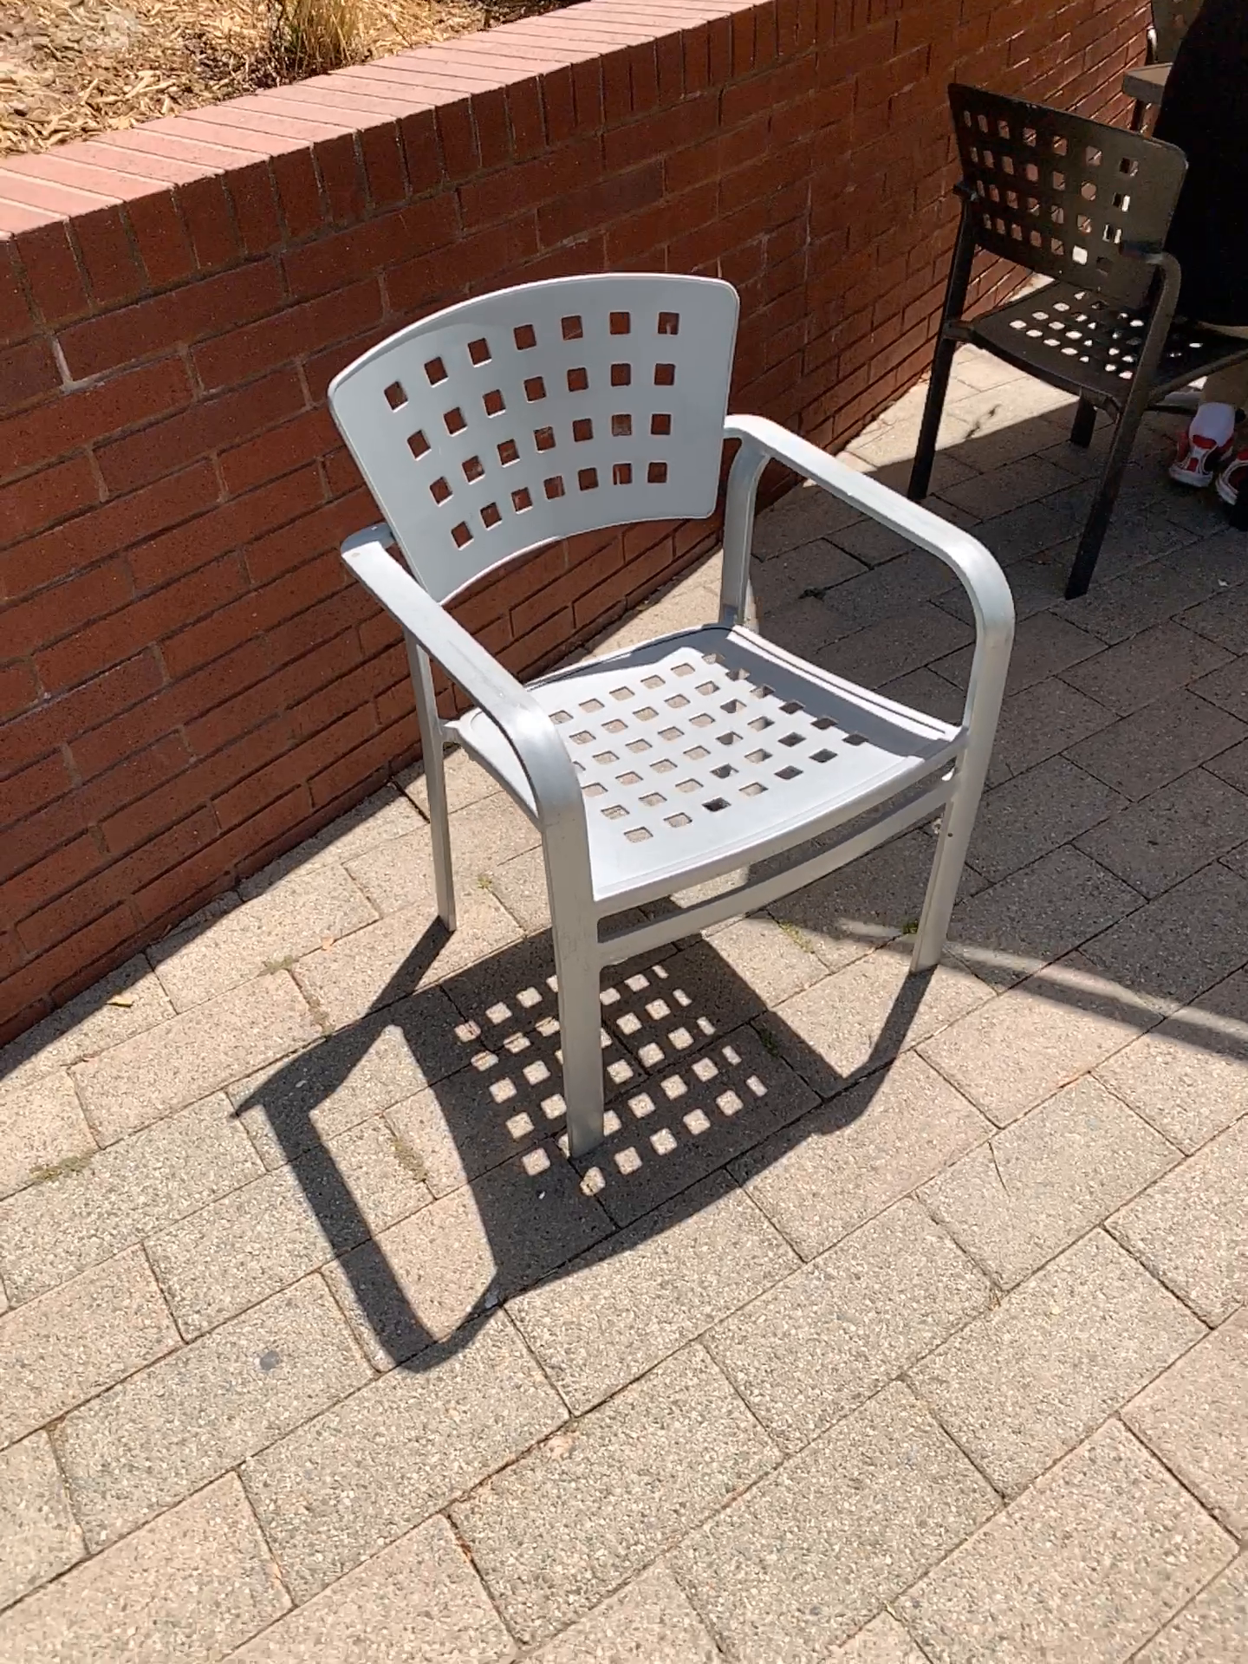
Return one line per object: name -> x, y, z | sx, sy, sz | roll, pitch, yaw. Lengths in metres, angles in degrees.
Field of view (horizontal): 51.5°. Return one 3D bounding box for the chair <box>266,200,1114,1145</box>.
chair -> 0.054, -0.184, 1.370 | 0.558, 0.698, 0.503 | -25, 45, -23
